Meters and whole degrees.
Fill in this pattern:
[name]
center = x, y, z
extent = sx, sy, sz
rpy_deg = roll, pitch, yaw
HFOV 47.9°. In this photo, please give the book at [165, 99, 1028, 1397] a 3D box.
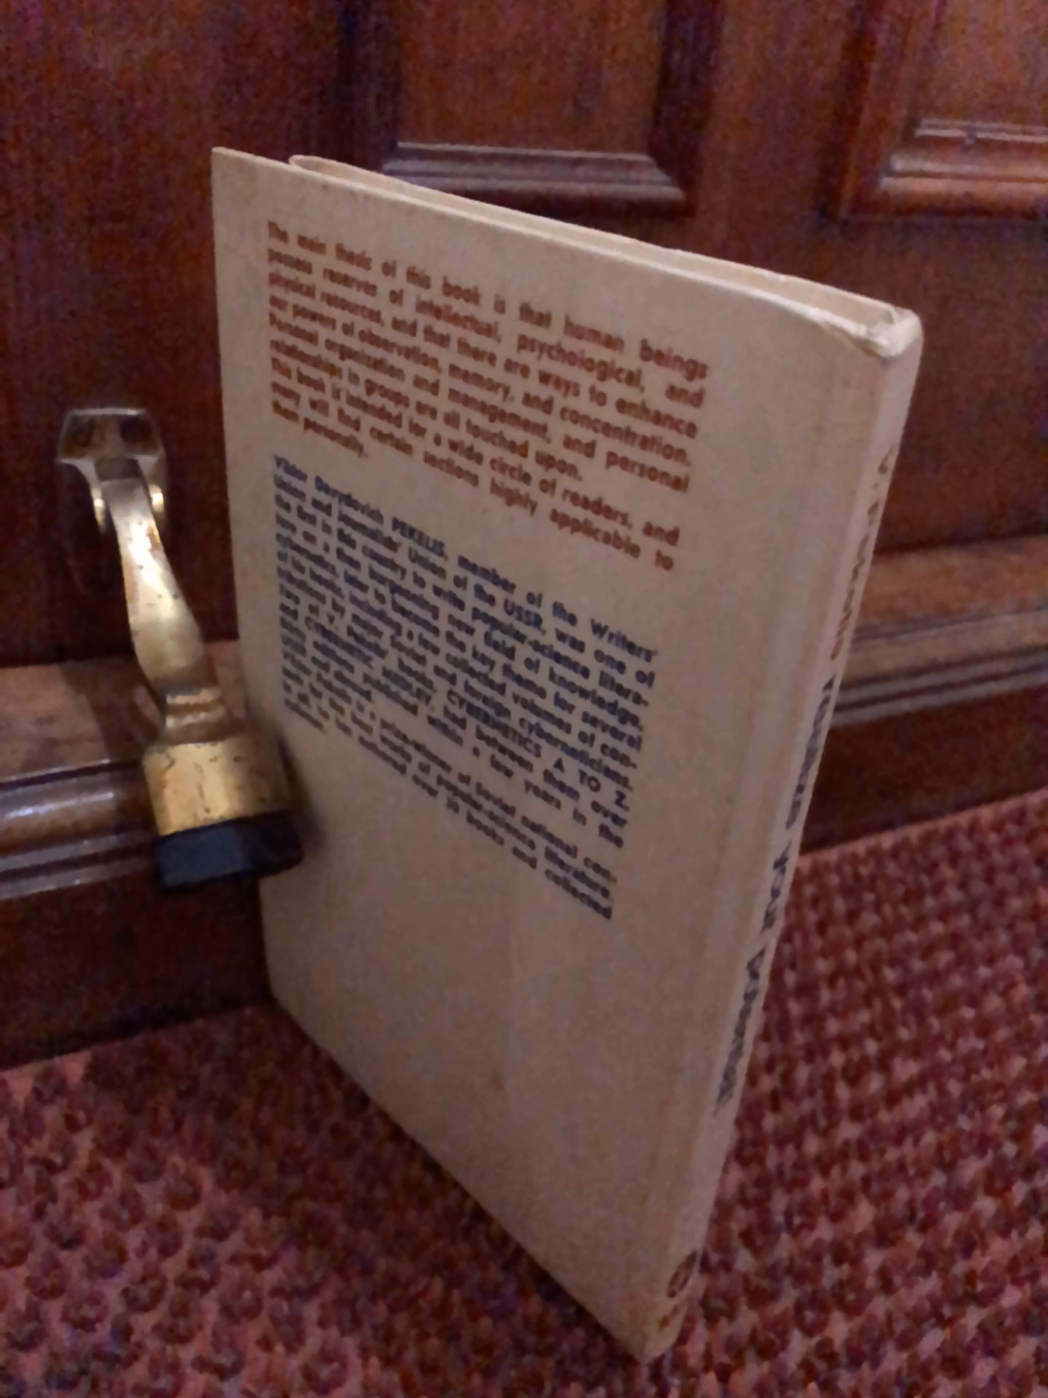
[book]
center = -0.012, 0.012, 0.228
extent = 0.030, 0.209, 0.150
rpy_deg = -22, 42, -36
